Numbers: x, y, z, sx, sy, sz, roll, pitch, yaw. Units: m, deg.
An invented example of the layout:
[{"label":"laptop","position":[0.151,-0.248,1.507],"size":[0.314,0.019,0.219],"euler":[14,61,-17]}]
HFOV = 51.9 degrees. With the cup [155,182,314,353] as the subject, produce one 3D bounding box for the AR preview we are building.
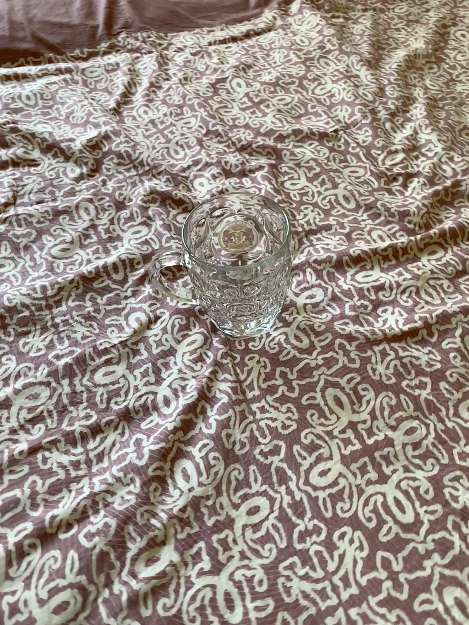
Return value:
[{"label":"cup","position":[-0.001,-0.037,0.423],"size":[0.117,0.099,0.093],"euler":[-7,53,-1]}]
